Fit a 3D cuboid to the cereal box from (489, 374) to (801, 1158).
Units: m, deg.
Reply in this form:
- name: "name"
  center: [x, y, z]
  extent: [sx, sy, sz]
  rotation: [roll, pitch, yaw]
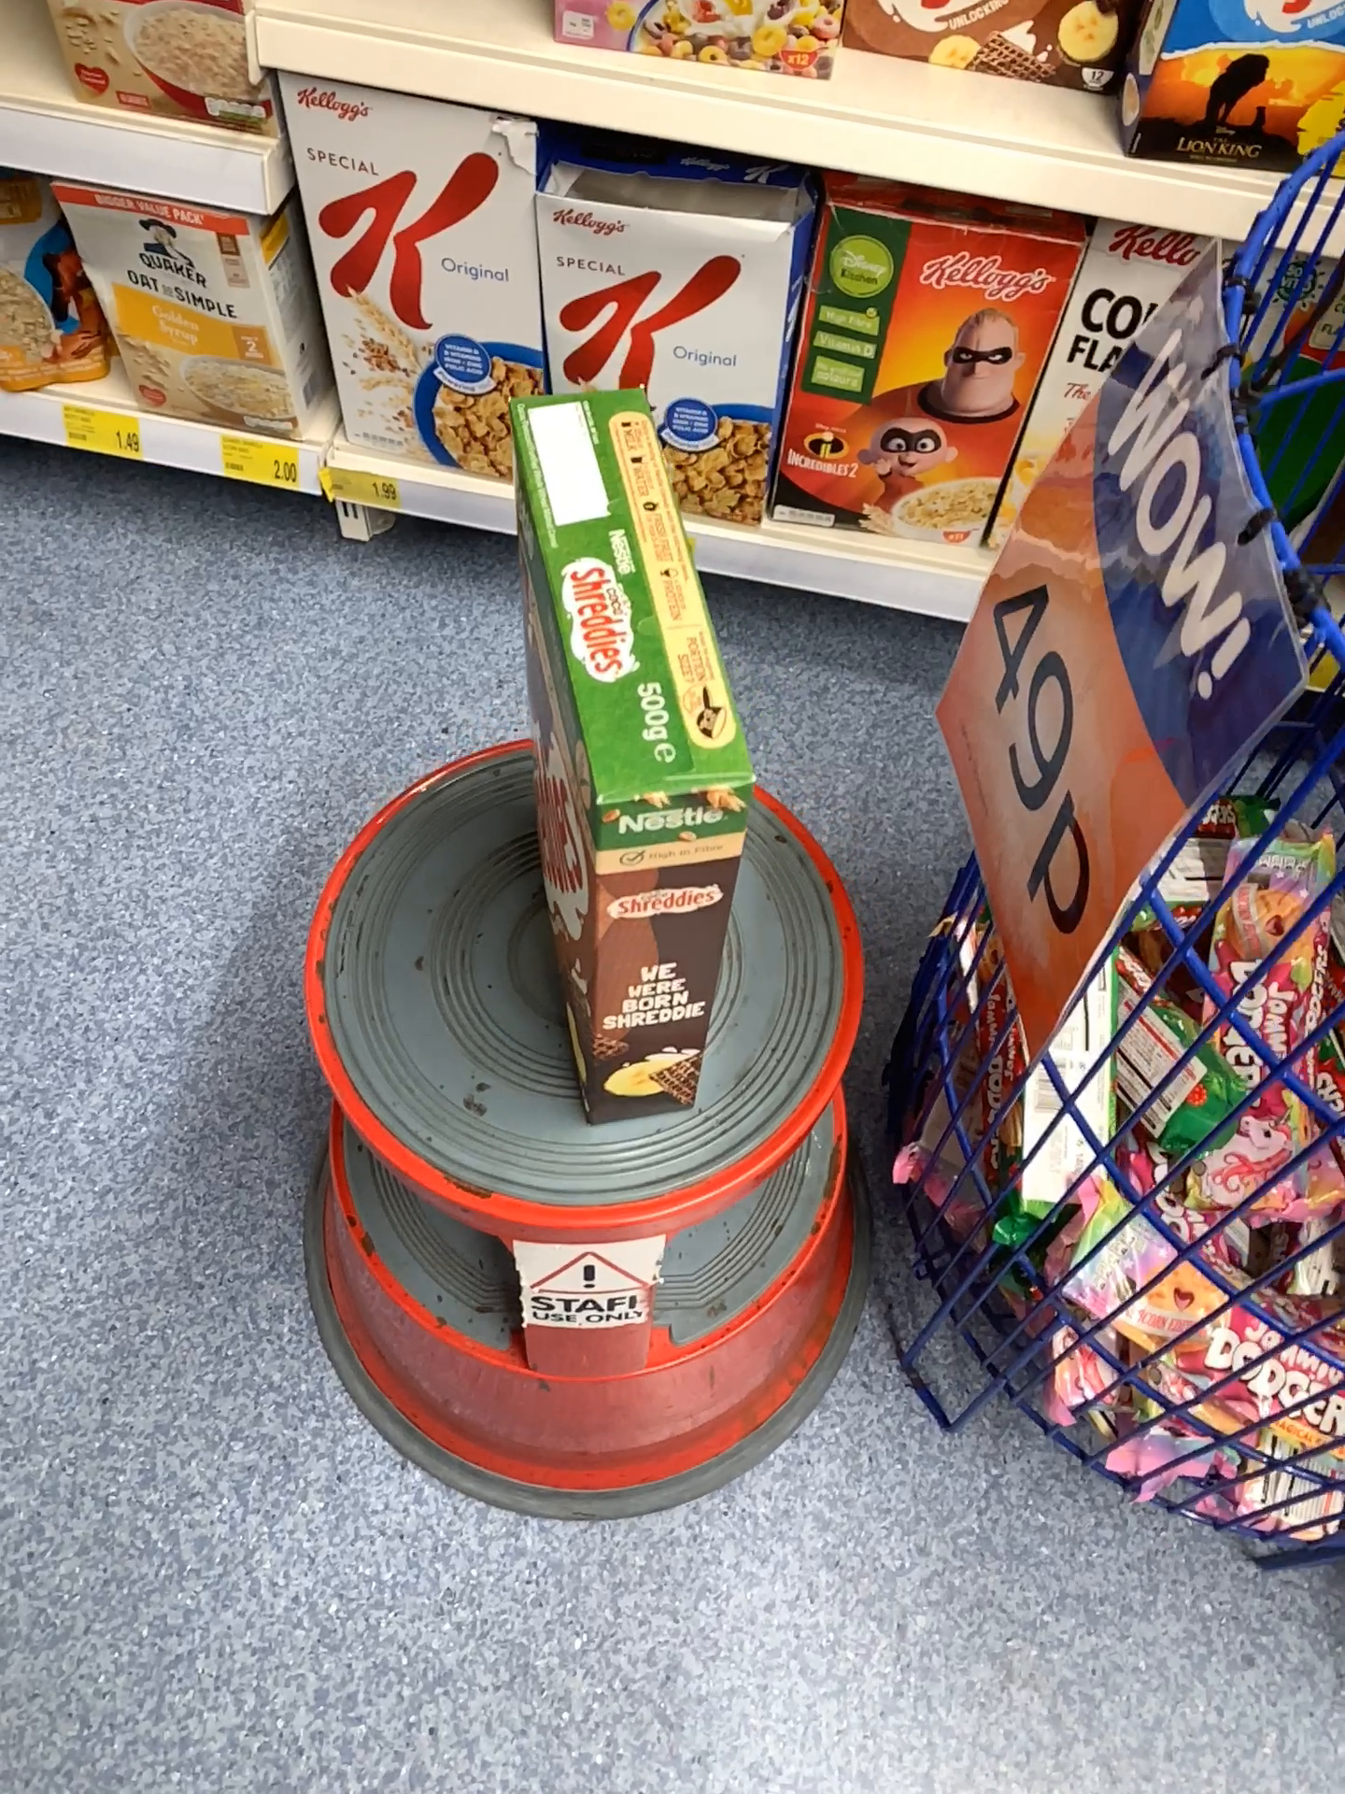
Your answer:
- name: "cereal box"
  center: [-0.023, -0.038, 0.584]
  extent: [0.070, 0.278, 0.201]
  rotation: [-8, 60, -9]
